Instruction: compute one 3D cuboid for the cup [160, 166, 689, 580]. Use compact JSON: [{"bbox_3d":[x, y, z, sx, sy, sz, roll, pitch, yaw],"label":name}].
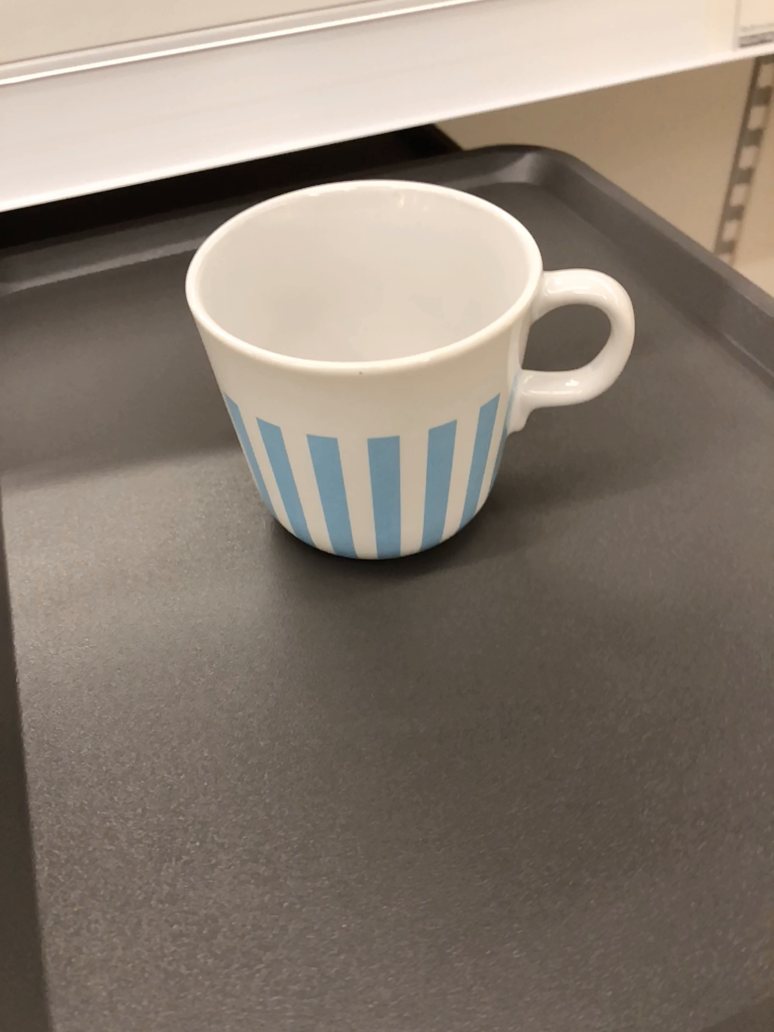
[{"bbox_3d":[0.009,-0.041,0.238,0.110,0.070,0.090,-2,43,1],"label":"cup"}]
